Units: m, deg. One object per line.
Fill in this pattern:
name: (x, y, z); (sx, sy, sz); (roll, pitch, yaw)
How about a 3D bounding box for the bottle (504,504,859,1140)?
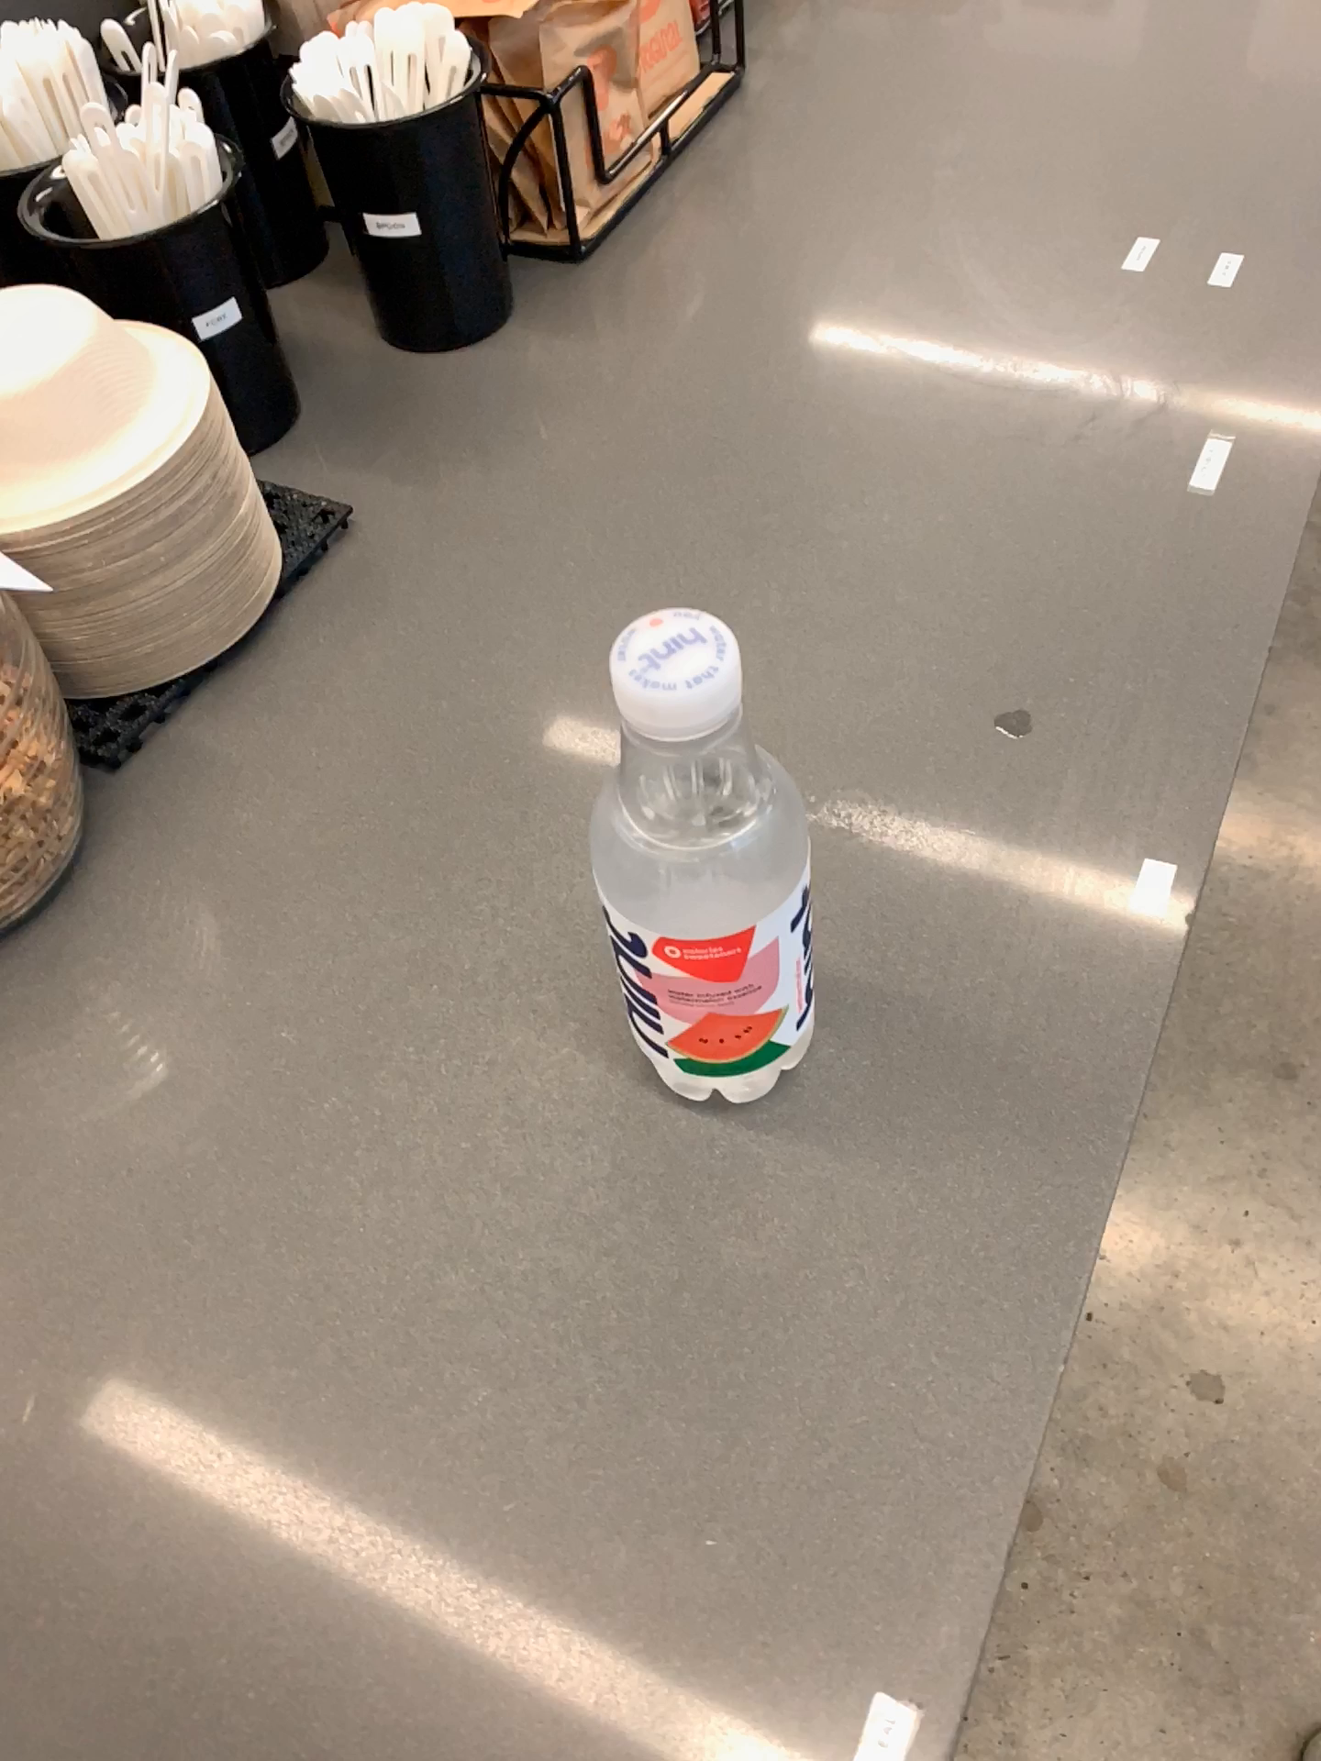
bottle: (0.013, -0.005, 0.419); (0.070, 0.199, 0.070); (-4, 54, 5)
